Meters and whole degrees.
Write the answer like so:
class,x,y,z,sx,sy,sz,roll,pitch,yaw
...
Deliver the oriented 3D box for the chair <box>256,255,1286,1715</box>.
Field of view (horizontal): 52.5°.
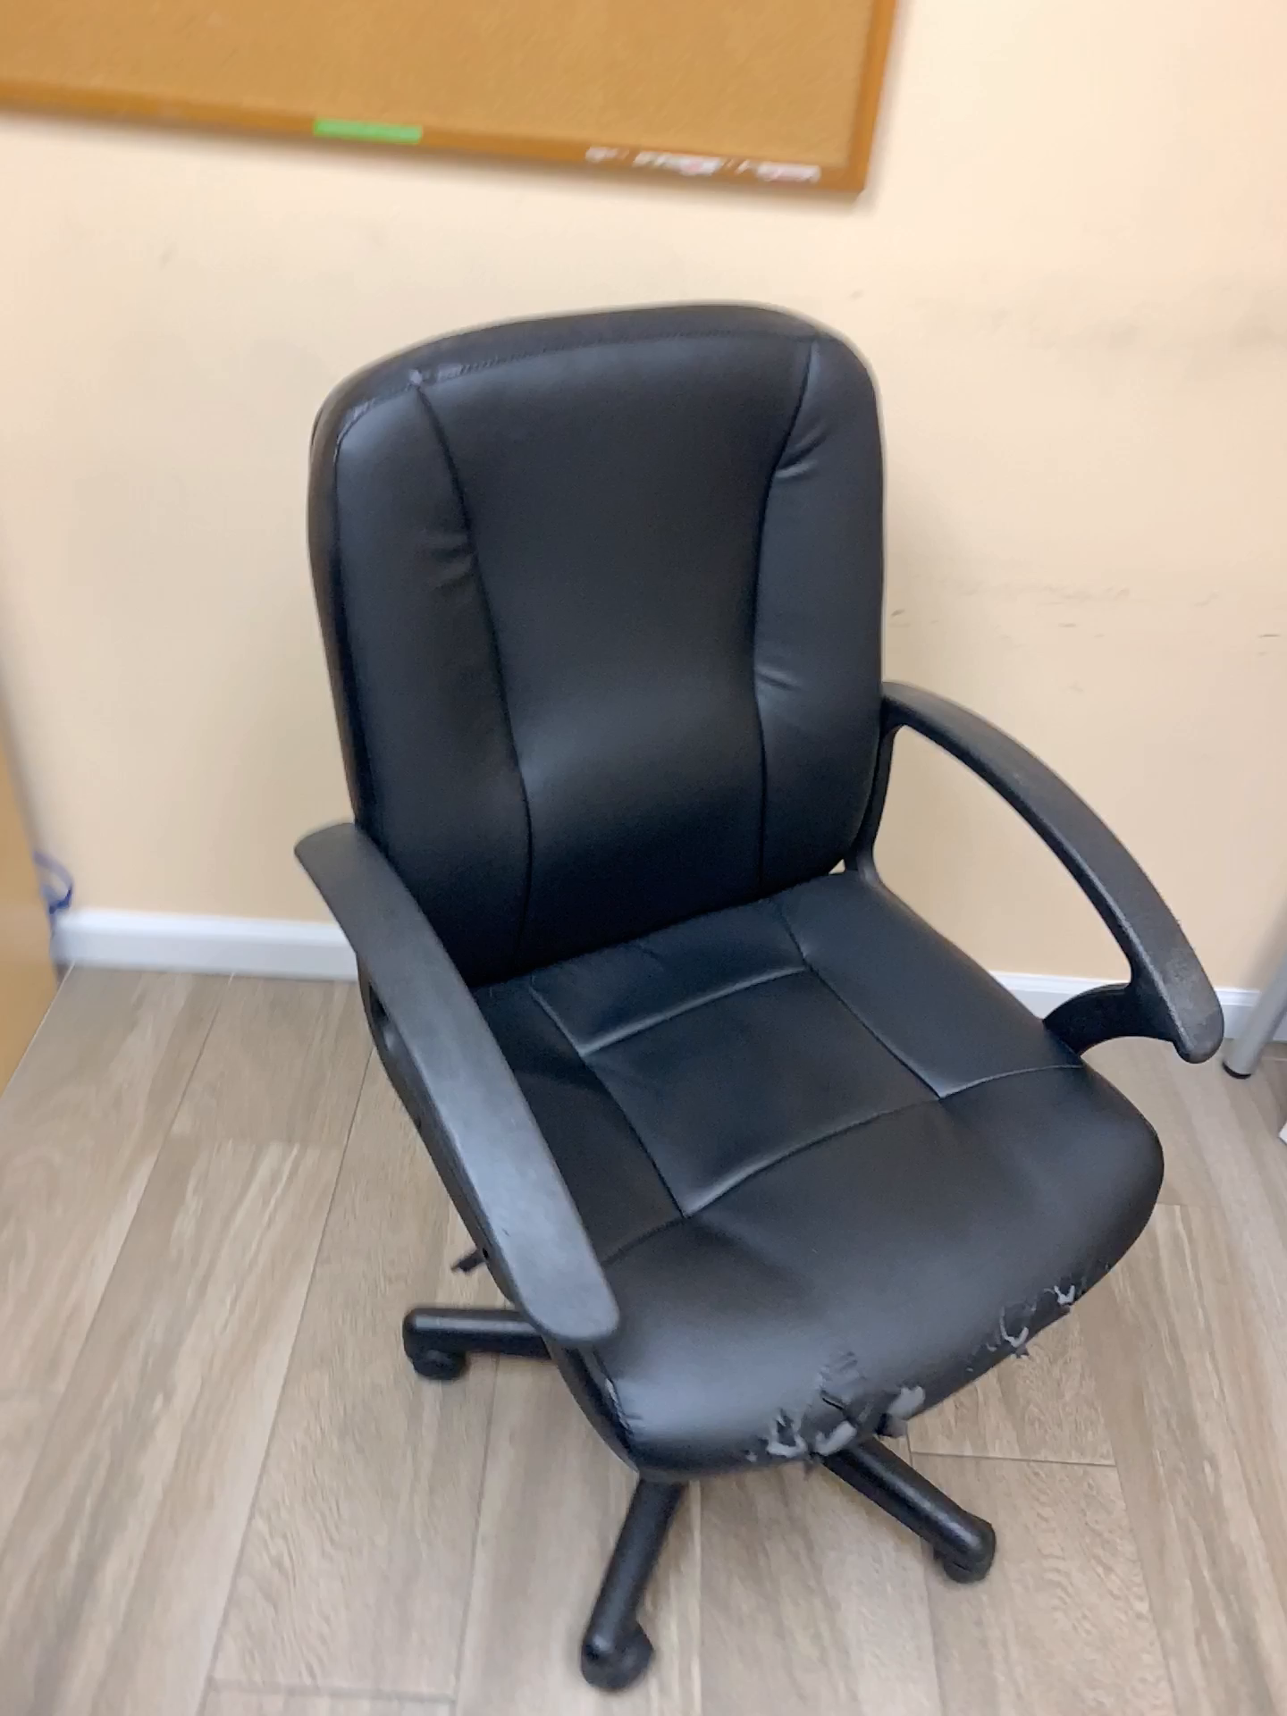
class,x,y,z,sx,sy,sz,roll,pitch,yaw
chair,0.169,0.145,1.065,0.684,0.987,0.646,-16,44,-25
